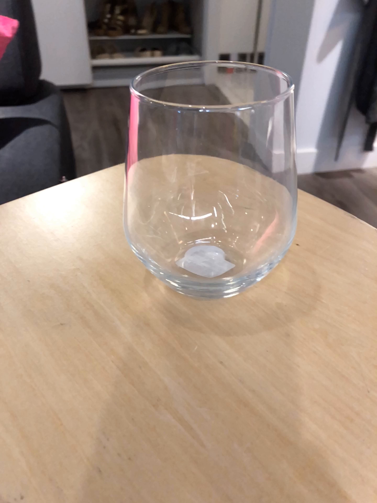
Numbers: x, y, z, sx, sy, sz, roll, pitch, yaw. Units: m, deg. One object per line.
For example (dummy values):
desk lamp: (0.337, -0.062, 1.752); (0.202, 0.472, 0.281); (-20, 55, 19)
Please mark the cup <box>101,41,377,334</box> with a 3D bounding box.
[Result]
cup: (0.014, -0.036, 0.206); (0.090, 0.100, 0.090); (1, 38, -1)
